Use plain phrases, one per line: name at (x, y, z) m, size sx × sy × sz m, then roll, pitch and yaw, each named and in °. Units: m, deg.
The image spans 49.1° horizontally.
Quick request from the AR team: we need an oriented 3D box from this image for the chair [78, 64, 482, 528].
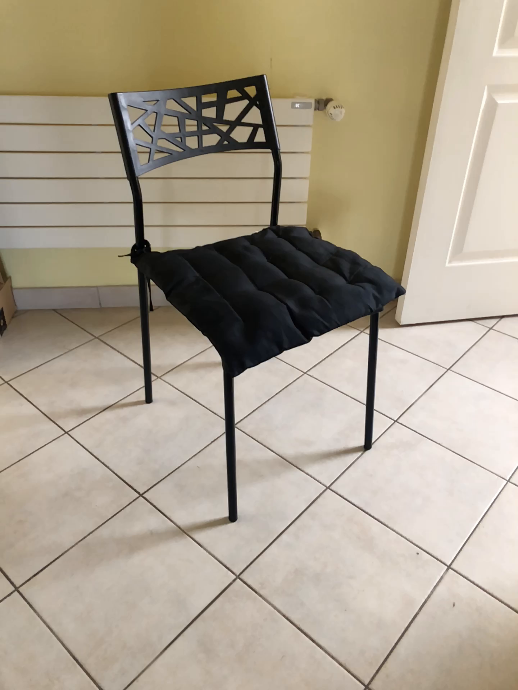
chair at (0.016, -0.142, 1.230) m, size 0.522 × 0.735 × 0.521 m, roll -21°, pitch 41°, yaw -28°
